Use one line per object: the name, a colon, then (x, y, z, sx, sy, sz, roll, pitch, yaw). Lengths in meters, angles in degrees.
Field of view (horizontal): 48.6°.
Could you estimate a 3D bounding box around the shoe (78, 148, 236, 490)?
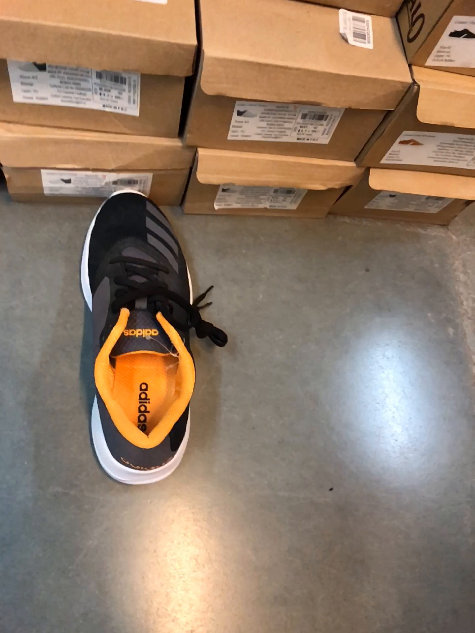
shoe: (-0.081, 0.004, 0.467, 0.110, 0.117, 0.271, 0, 68, -16)
